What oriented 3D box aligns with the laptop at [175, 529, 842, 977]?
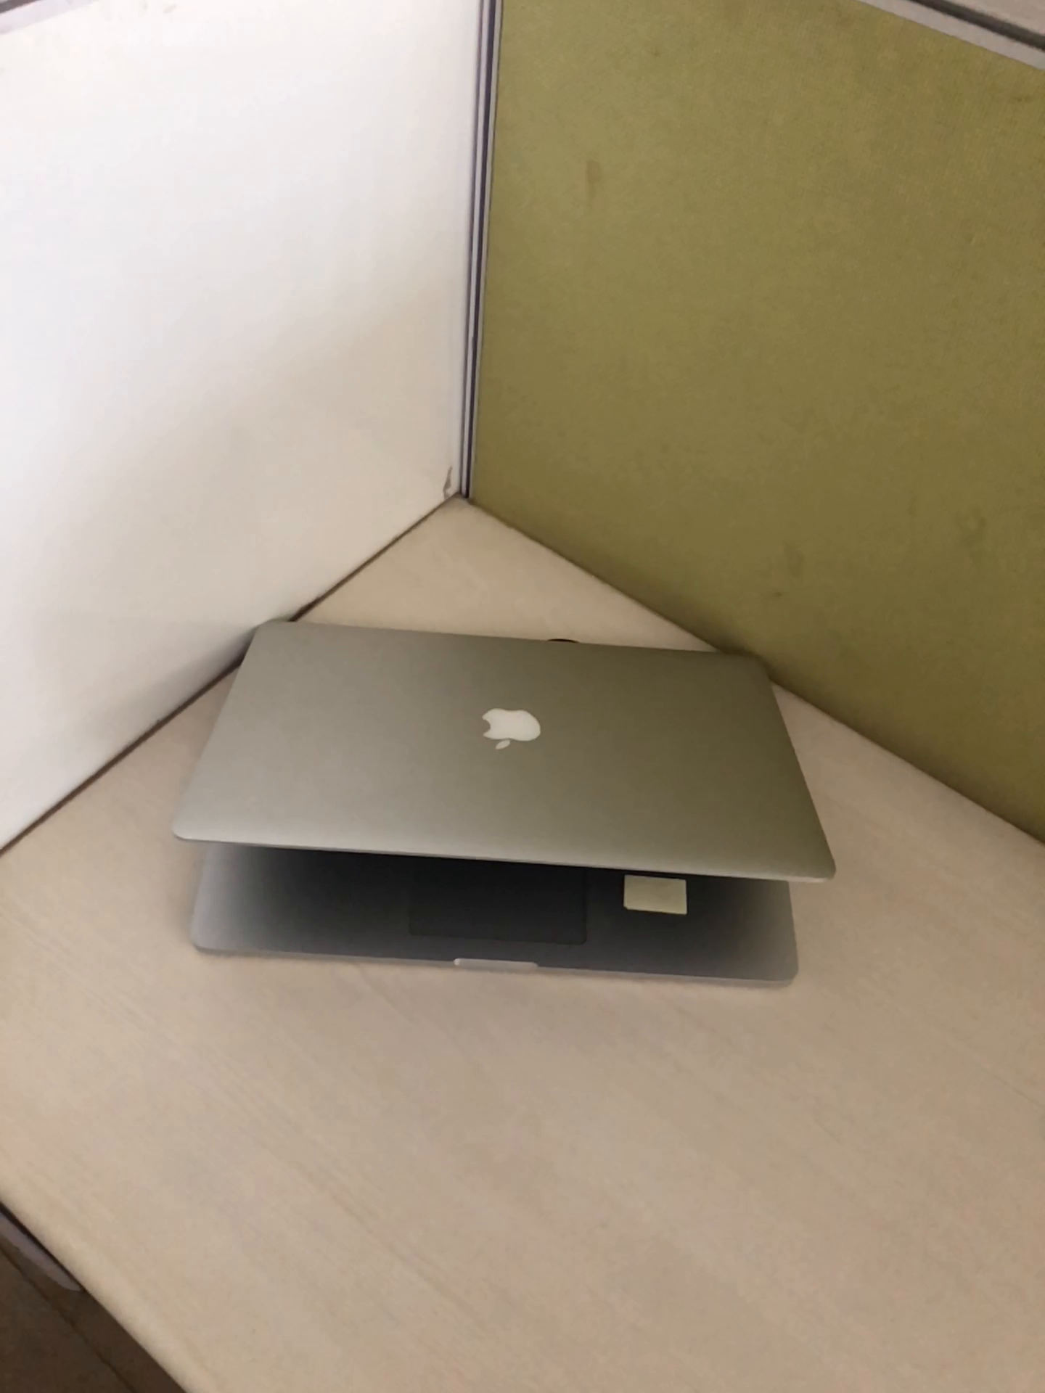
[{"bbox_3d":[-0.005,0.027,0.698,0.343,0.083,0.245,4,52,-2],"label":"laptop"}]
